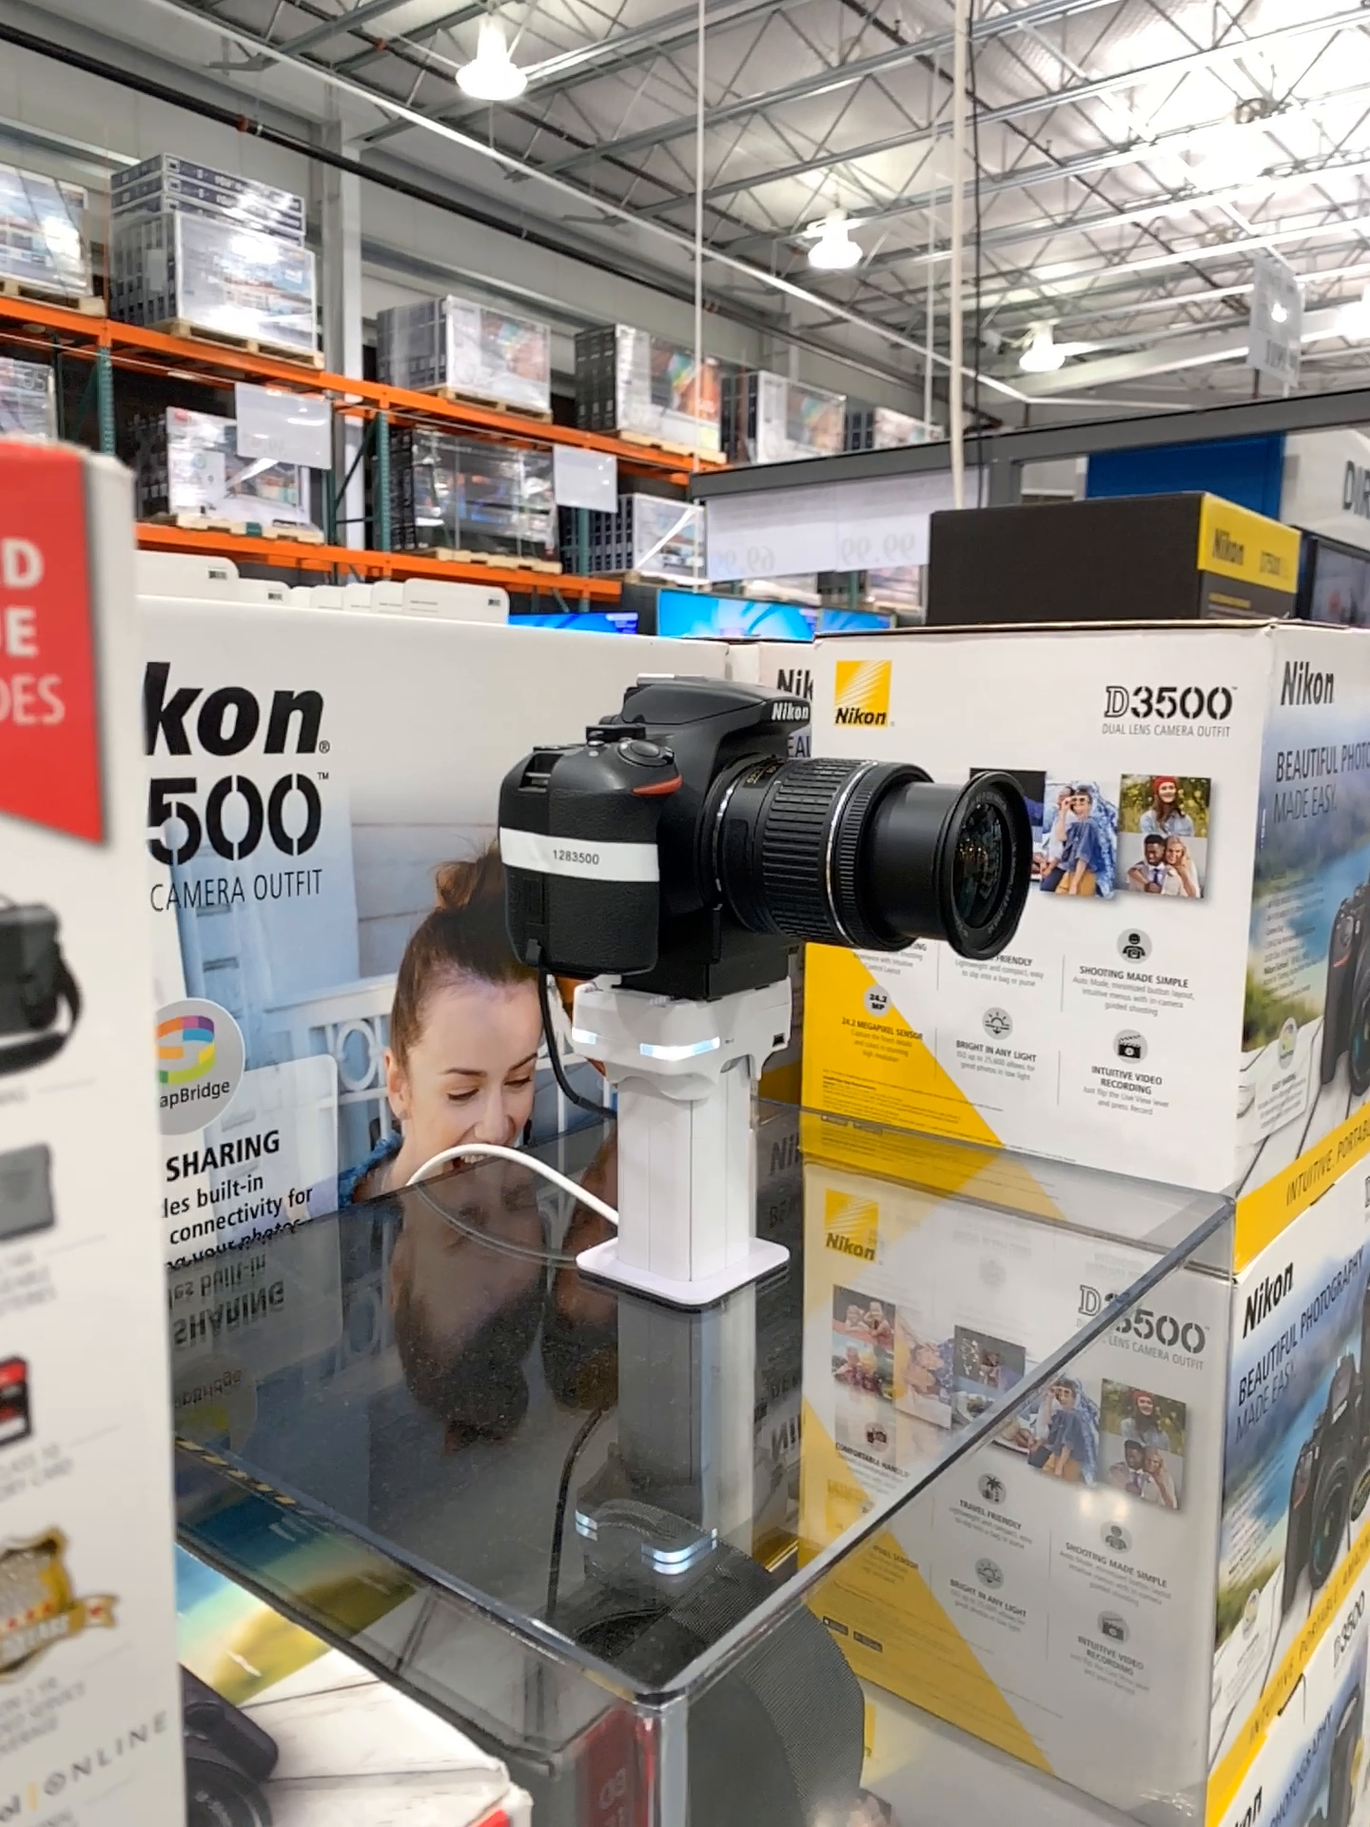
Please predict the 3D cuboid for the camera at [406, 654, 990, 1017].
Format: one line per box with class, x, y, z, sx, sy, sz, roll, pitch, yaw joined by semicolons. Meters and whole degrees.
camera;0.005;-0.036;0.481;0.150;0.100;0.130;7;10;35
